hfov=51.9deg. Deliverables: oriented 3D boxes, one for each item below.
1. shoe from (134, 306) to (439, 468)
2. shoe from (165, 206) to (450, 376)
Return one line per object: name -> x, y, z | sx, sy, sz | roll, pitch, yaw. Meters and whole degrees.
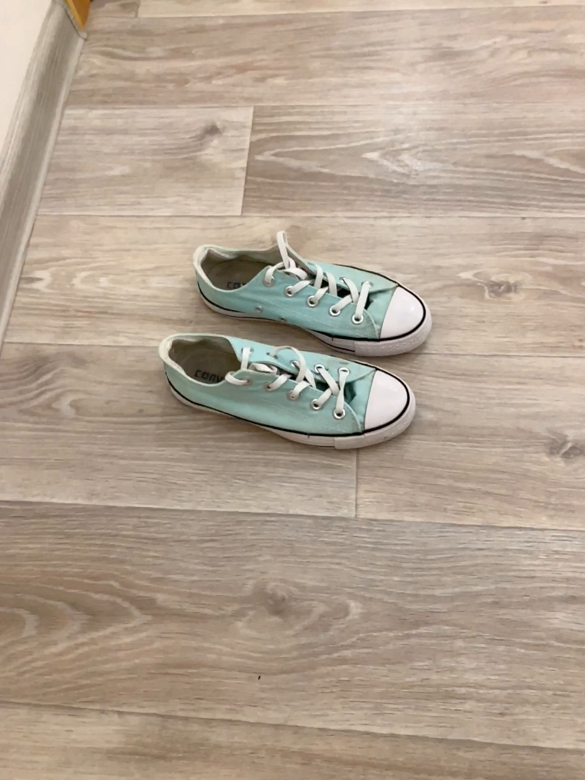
shoe -> -0.003, -0.004, 0.545 | 0.250, 0.060, 0.092 | 9, 68, 9
shoe -> 0.015, -0.100, 0.593 | 0.250, 0.060, 0.100 | 14, 69, 11
